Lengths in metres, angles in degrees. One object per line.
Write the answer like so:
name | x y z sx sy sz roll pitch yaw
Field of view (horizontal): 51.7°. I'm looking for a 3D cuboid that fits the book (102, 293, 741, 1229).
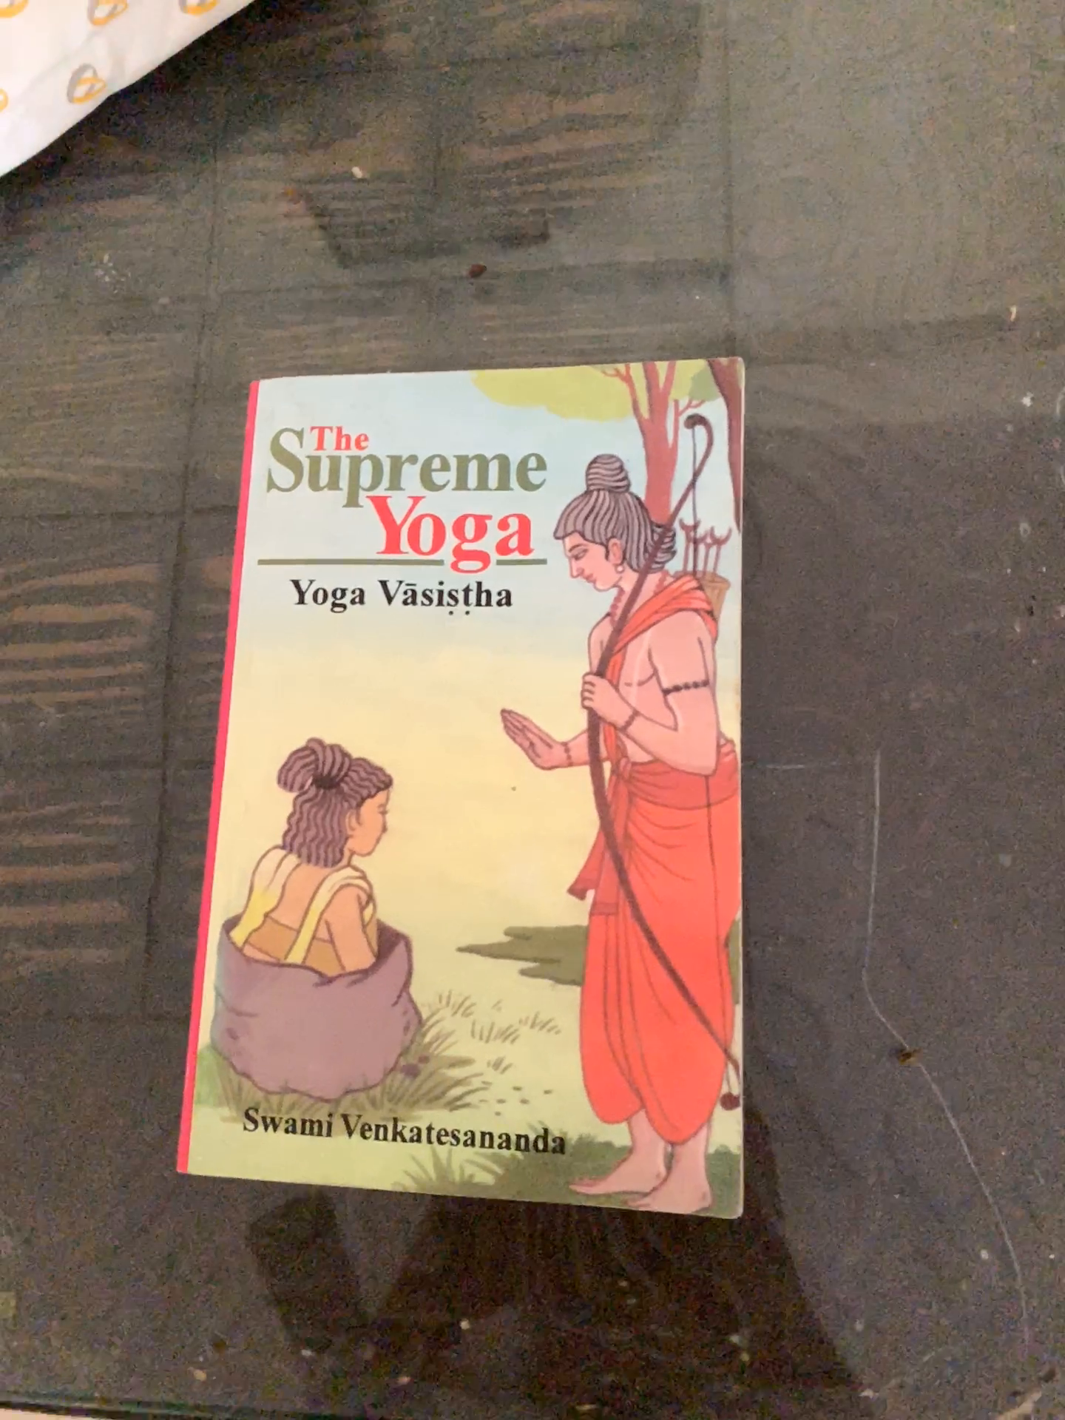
book | -0.021 0.005 0.270 0.140 0.030 0.210 0 78 9
